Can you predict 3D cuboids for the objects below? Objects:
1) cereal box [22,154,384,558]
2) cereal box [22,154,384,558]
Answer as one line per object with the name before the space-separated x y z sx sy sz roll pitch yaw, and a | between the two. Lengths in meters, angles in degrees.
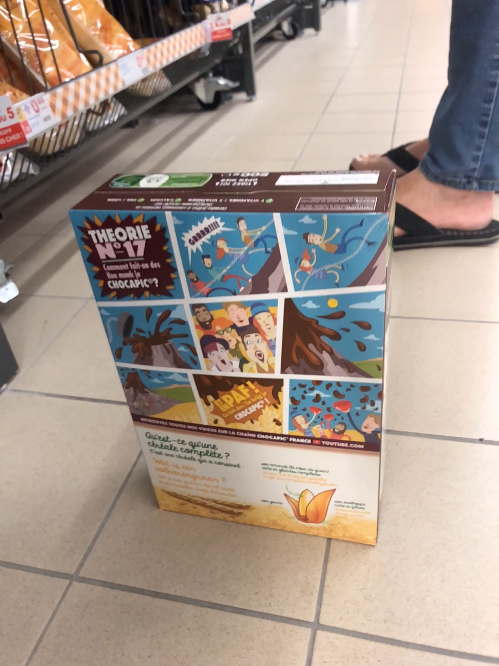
cereal box | -0.010 0.030 0.400 0.200 0.288 0.070 3 35 16
cereal box | -0.010 0.030 0.400 0.200 0.288 0.070 3 35 16
